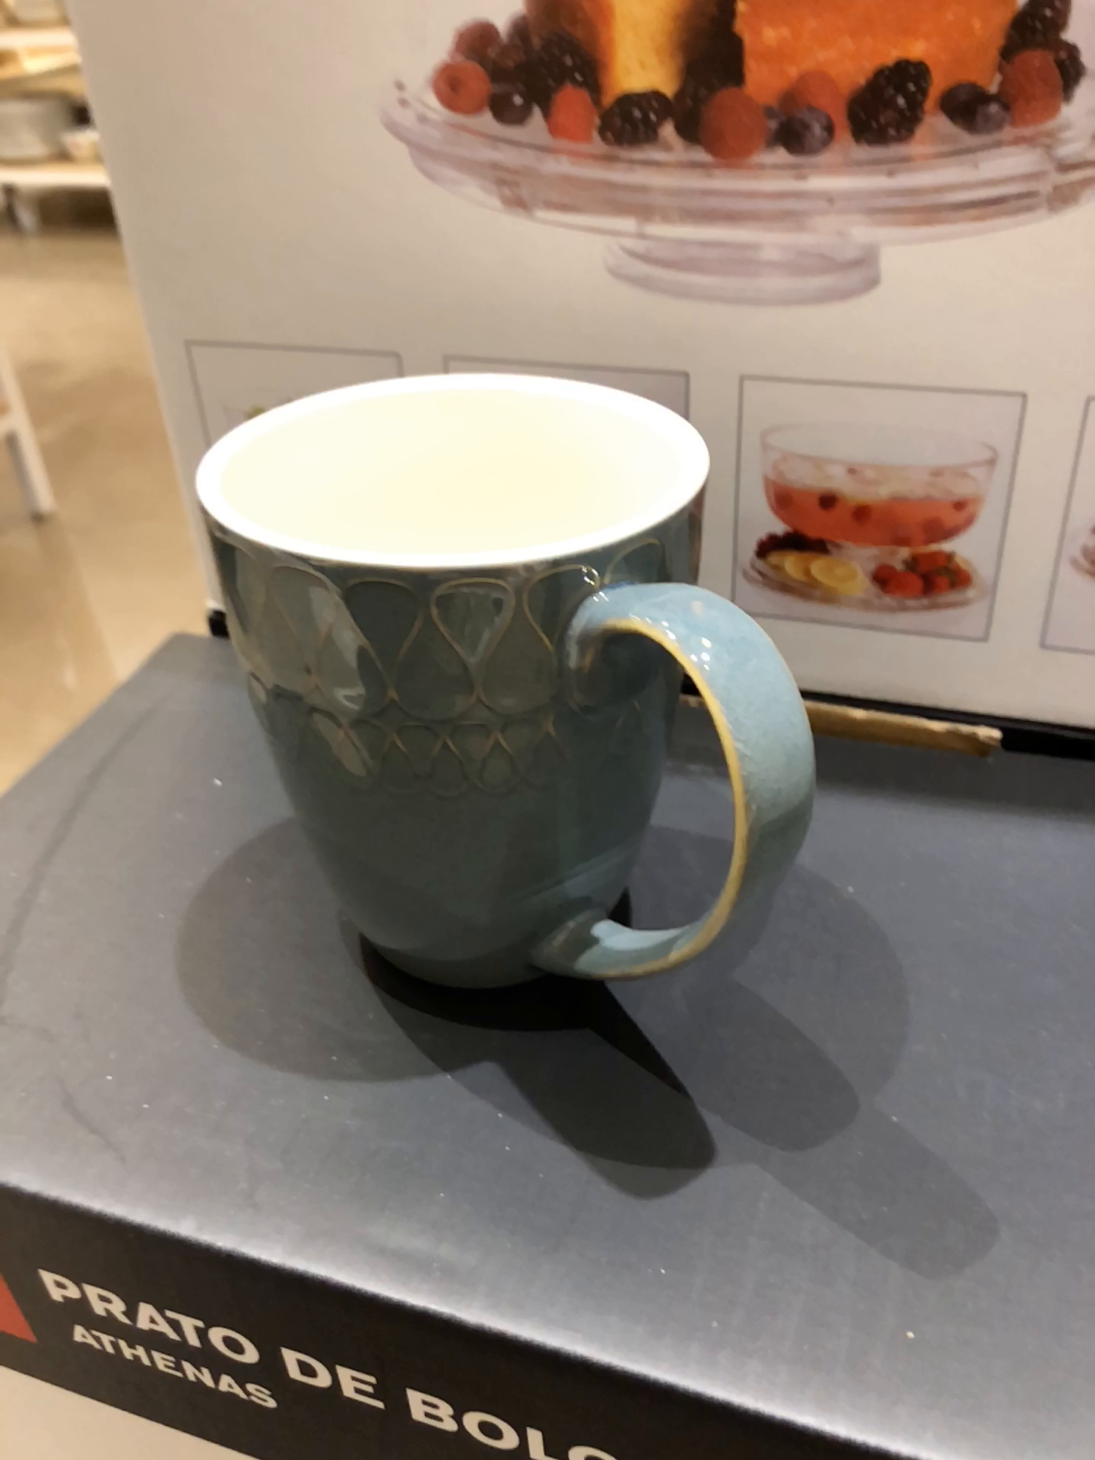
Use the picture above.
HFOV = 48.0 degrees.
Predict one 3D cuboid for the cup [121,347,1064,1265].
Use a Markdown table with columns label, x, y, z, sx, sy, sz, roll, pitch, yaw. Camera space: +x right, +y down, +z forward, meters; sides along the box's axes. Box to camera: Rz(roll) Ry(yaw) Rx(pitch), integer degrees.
| label | x | y | z | sx | sy | sz | roll | pitch | yaw |
| --- | --- | --- | --- | --- | --- | --- | --- | --- | --- |
| cup | 0.006 | 0.001 | 0.233 | 0.130 | 0.099 | 0.090 | 26 | 45 | 36 |
